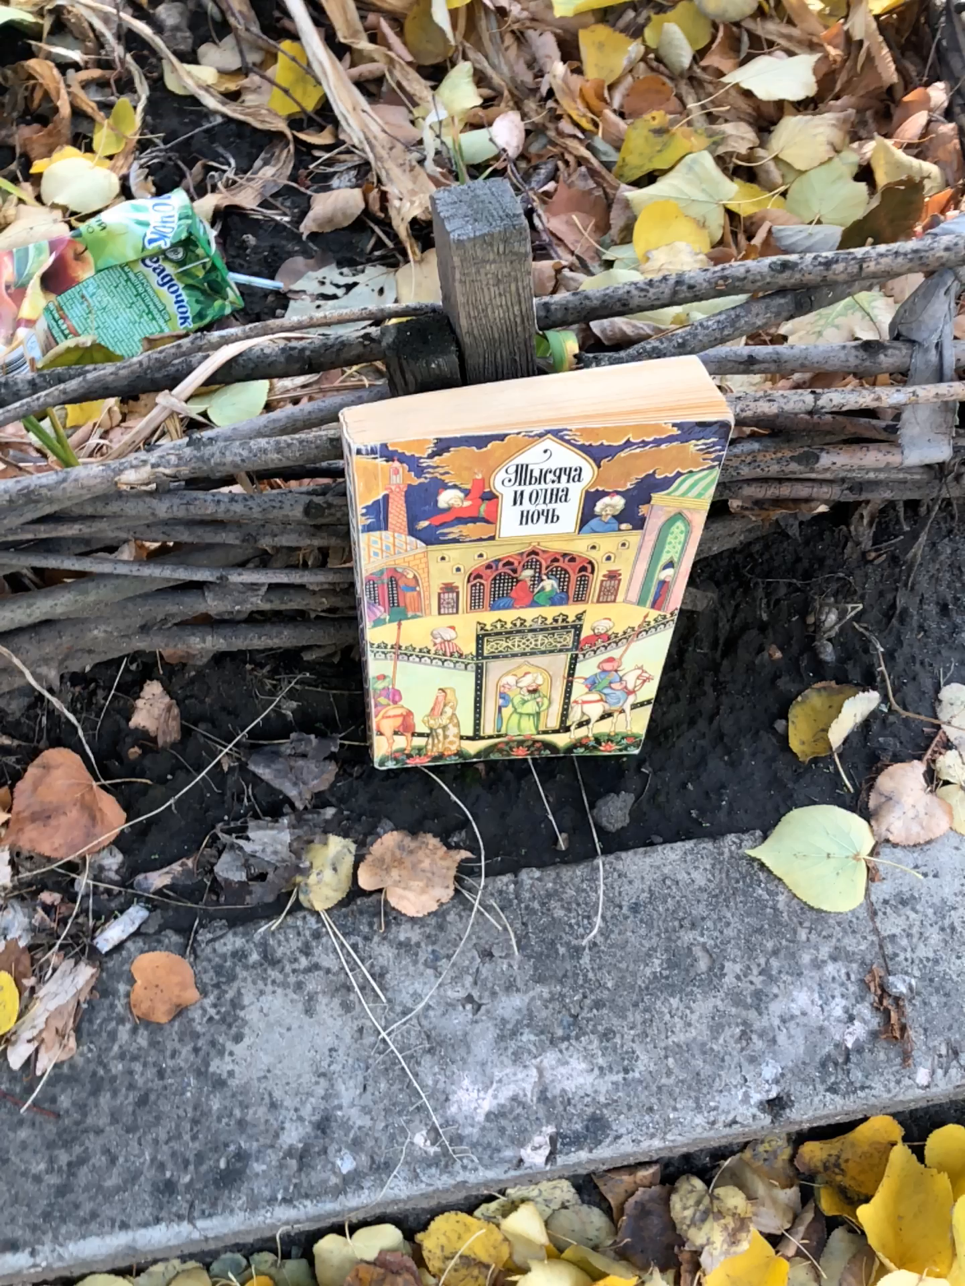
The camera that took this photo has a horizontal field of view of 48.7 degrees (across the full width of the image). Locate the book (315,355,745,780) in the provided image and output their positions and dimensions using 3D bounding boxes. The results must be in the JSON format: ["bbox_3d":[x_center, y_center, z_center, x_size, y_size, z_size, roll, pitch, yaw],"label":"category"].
[{"bbox_3d":[0.013,-0.015,0.381,0.122,0.182,0.029,-4,52,-3],"label":"book"}]
